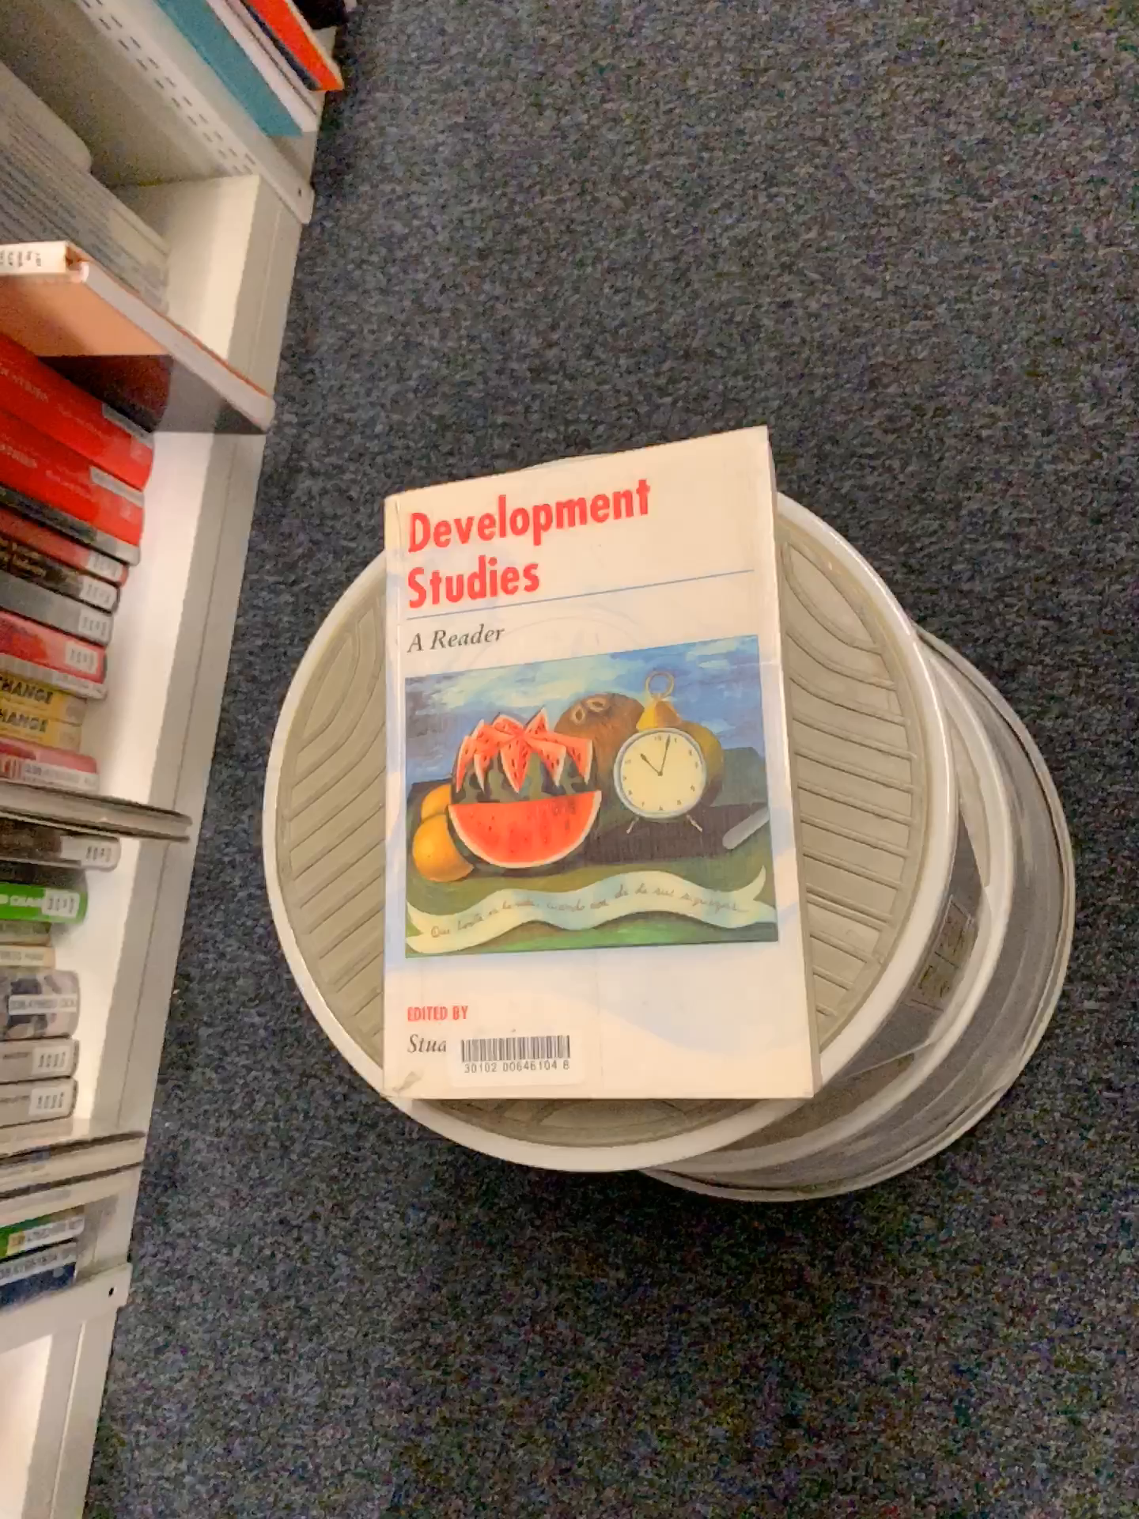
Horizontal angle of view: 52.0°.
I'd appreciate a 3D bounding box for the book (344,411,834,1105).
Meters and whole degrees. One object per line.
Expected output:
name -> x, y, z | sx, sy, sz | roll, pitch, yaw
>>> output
book -> 0.002, 0.004, 0.416 | 0.159, 0.046, 0.225 | -5, 79, 17
